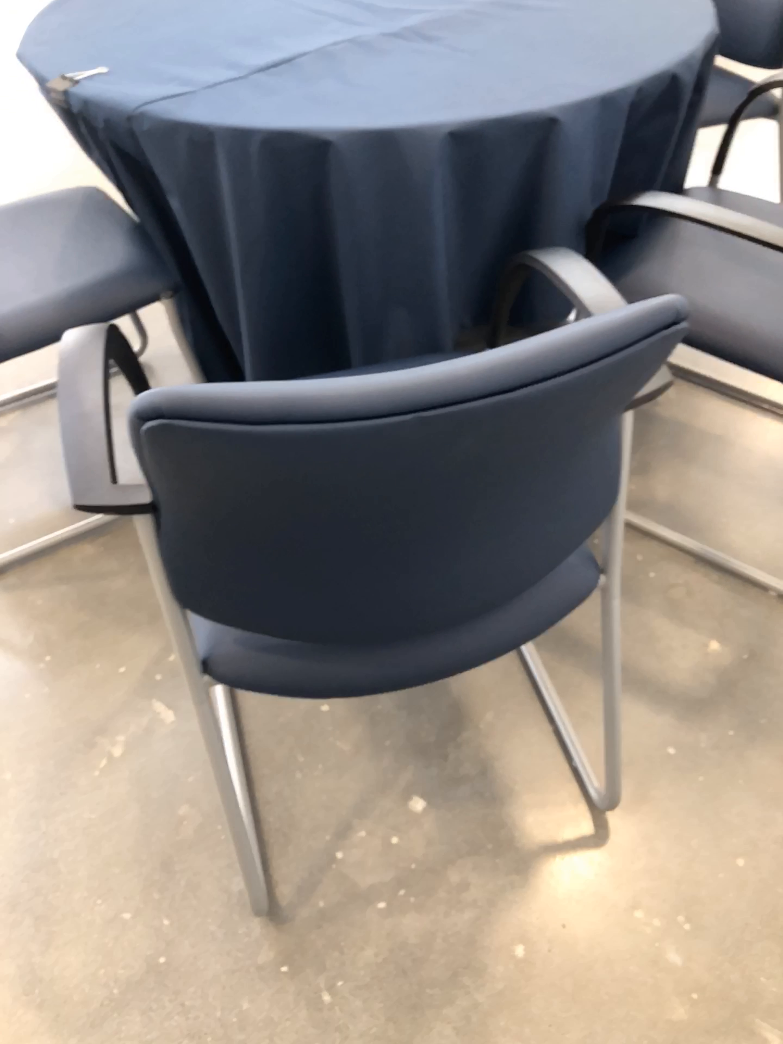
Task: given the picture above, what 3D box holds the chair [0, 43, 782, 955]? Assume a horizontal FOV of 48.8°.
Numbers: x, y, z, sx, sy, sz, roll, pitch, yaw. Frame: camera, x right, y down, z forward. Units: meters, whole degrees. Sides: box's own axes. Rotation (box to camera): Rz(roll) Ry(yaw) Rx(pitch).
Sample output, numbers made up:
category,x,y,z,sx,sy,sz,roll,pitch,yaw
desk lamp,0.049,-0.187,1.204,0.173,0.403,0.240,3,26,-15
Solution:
category,x,y,z,sx,sy,sz,roll,pitch,yaw
chair,-0.042,-0.036,1.076,0.640,0.765,0.674,-13,46,-10
